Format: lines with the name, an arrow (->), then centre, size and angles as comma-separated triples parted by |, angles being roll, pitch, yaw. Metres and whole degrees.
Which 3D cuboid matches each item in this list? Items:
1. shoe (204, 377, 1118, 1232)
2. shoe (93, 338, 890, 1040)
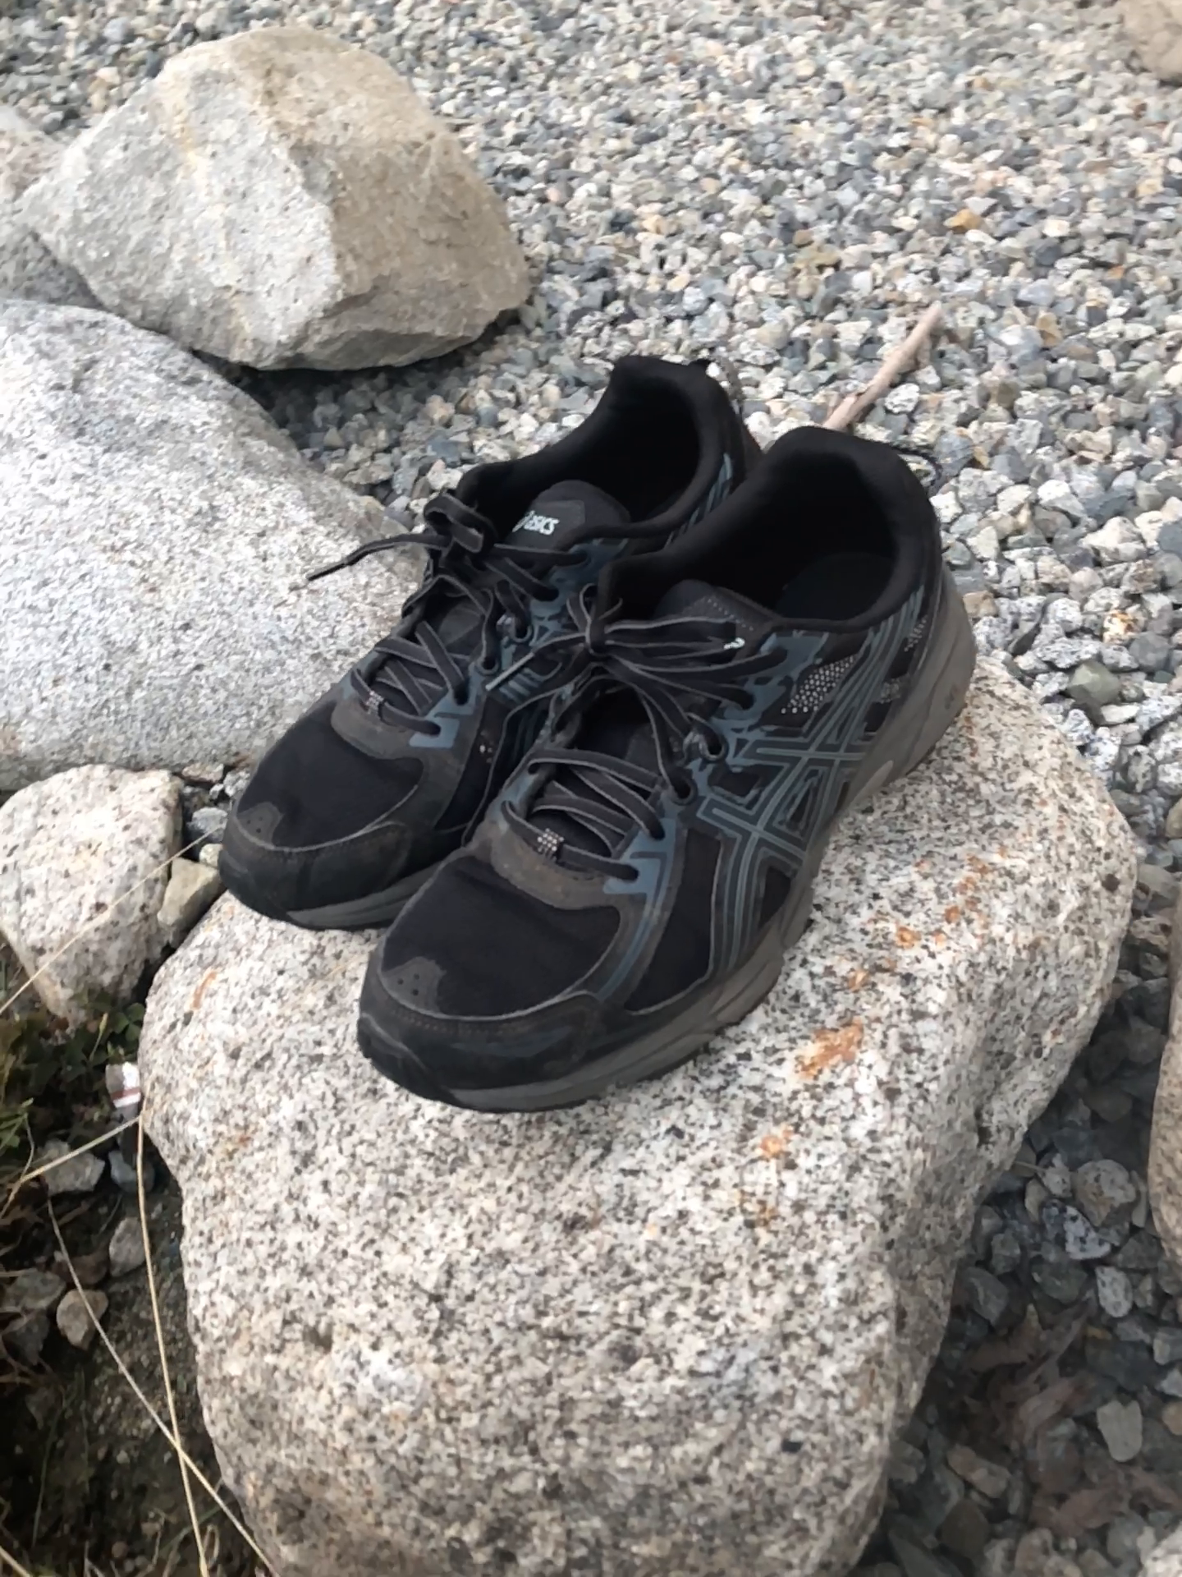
shoe -> 0.039, -0.017, 0.433 | 0.121, 0.099, 0.291 | 31, 56, 32
shoe -> -0.021, -0.056, 0.496 | 0.121, 0.099, 0.281 | 31, 56, 32
